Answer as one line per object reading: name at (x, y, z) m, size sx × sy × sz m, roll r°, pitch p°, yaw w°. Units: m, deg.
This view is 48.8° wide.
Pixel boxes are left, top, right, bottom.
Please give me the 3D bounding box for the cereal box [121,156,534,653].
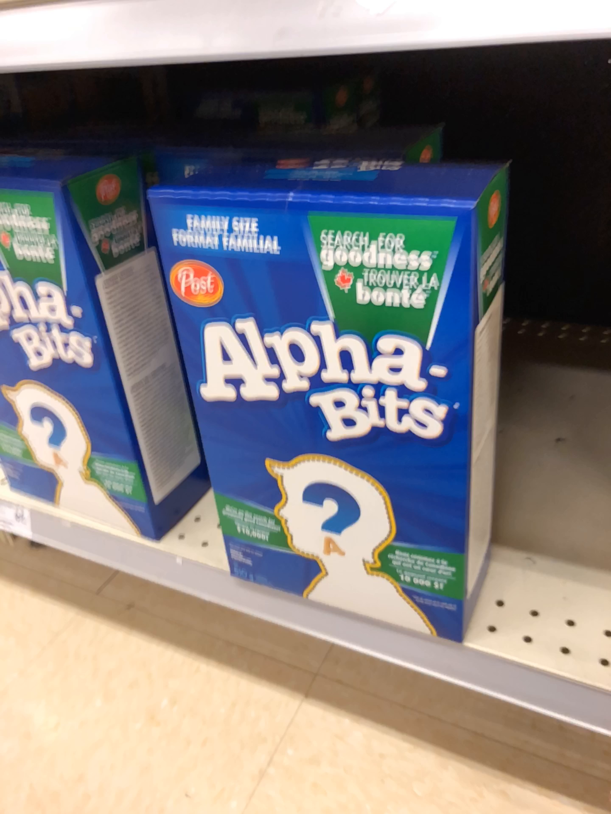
cereal box at (0.022, 0.000, 0.443) m, size 0.211 × 0.298 × 0.080 m, roll 10°, pitch 35°, yaw 24°
